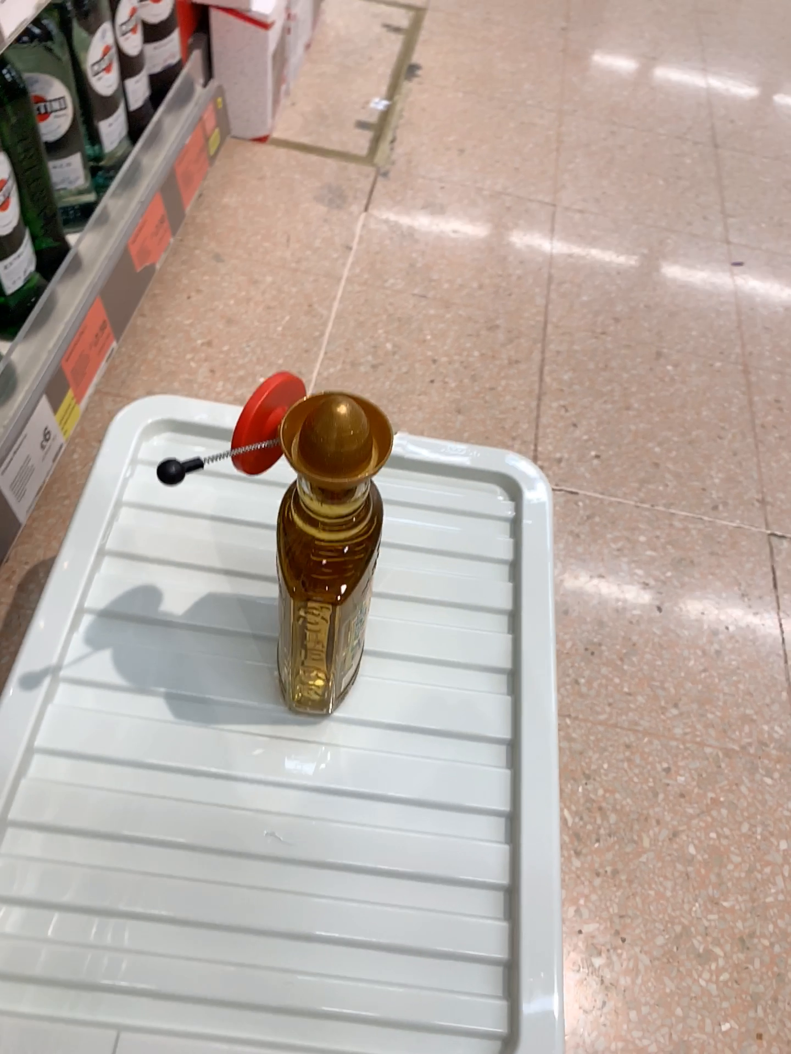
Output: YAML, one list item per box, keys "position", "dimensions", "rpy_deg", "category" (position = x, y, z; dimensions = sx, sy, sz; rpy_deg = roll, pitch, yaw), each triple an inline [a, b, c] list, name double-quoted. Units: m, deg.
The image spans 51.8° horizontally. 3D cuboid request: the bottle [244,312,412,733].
- position: [-0.043, 0.018, 0.457]
  dimensions: [0.058, 0.258, 0.101]
  rpy_deg: [9, 55, -3]
  category: "bottle"
